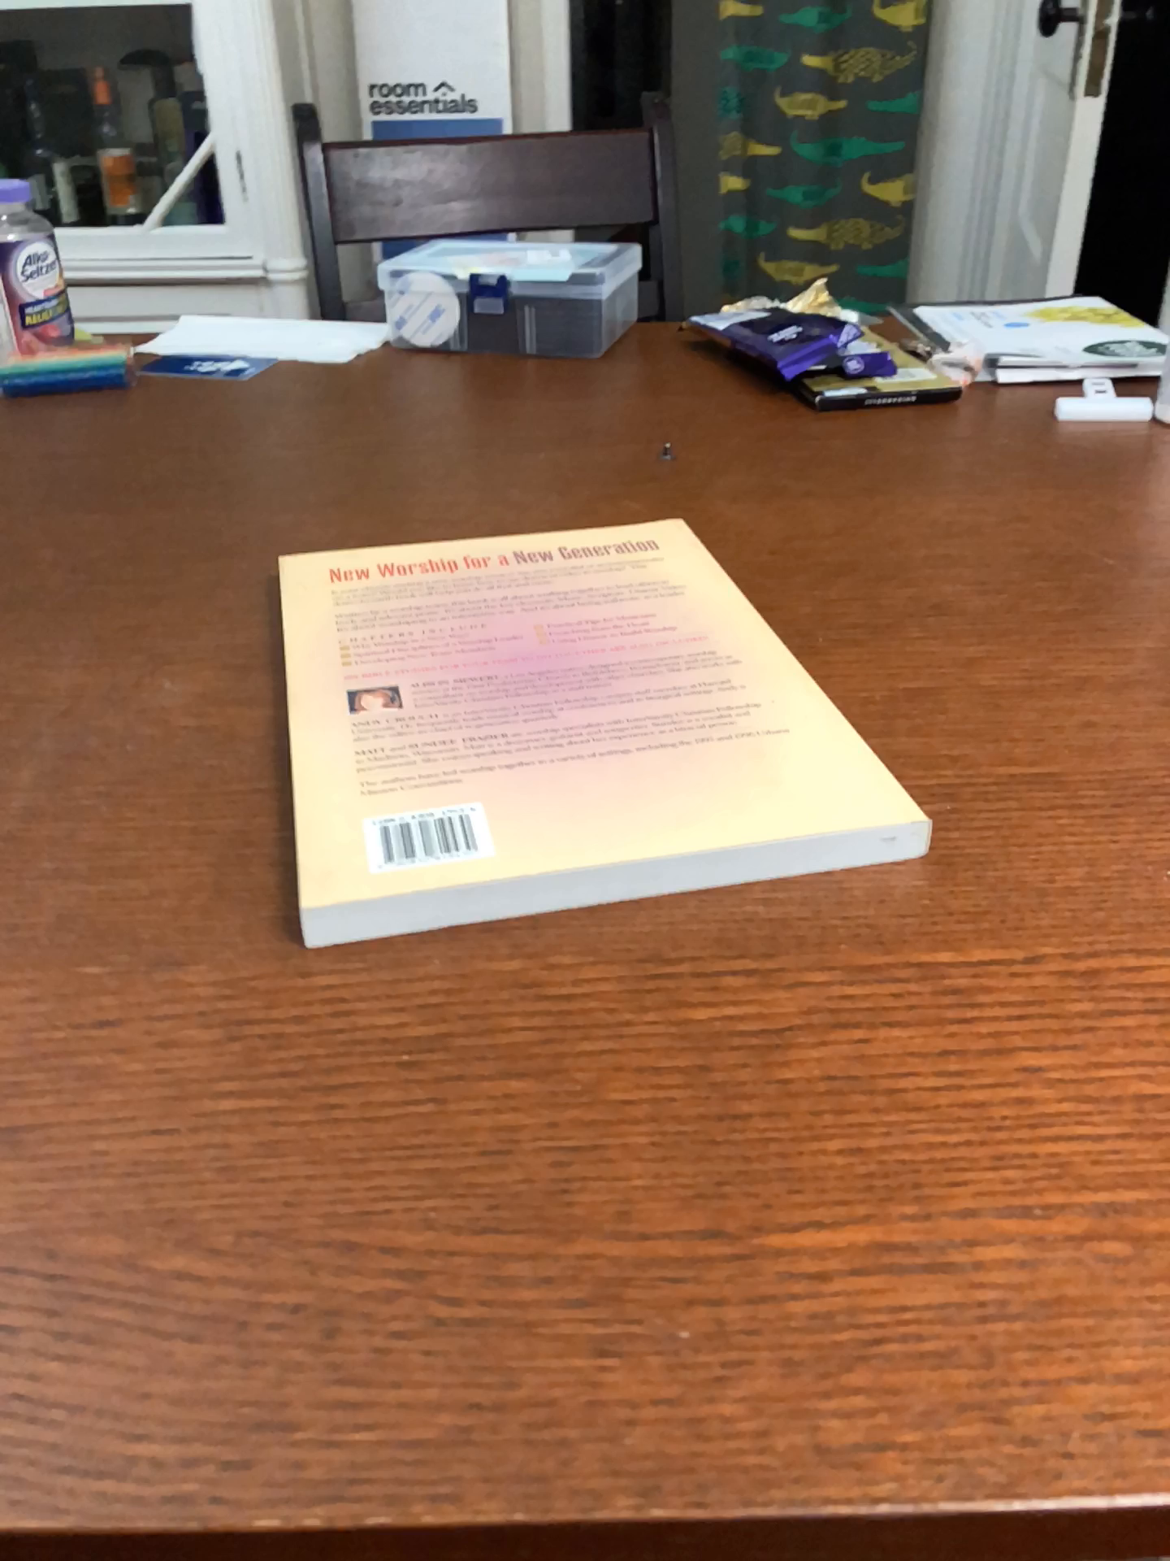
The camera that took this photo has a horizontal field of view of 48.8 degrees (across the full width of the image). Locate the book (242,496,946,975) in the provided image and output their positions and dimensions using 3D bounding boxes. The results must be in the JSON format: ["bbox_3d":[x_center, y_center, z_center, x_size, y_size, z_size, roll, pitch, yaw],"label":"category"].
[{"bbox_3d":[-0.022,-0.039,0.462,0.190,0.020,0.271,-8,32,-11],"label":"book"}]
